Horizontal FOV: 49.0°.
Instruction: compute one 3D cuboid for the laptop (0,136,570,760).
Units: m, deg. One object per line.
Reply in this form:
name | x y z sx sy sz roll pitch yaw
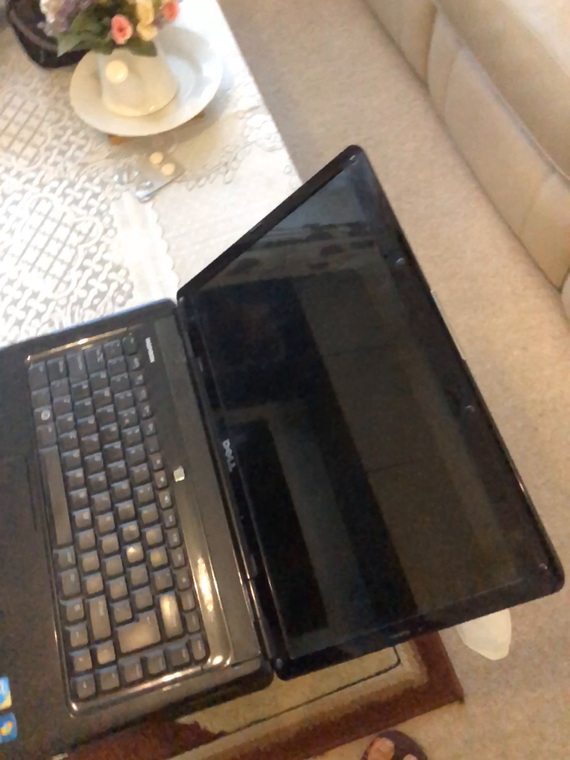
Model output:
laptop | -0.075 0.048 0.494 0.418 0.122 0.364 -18 66 -2
